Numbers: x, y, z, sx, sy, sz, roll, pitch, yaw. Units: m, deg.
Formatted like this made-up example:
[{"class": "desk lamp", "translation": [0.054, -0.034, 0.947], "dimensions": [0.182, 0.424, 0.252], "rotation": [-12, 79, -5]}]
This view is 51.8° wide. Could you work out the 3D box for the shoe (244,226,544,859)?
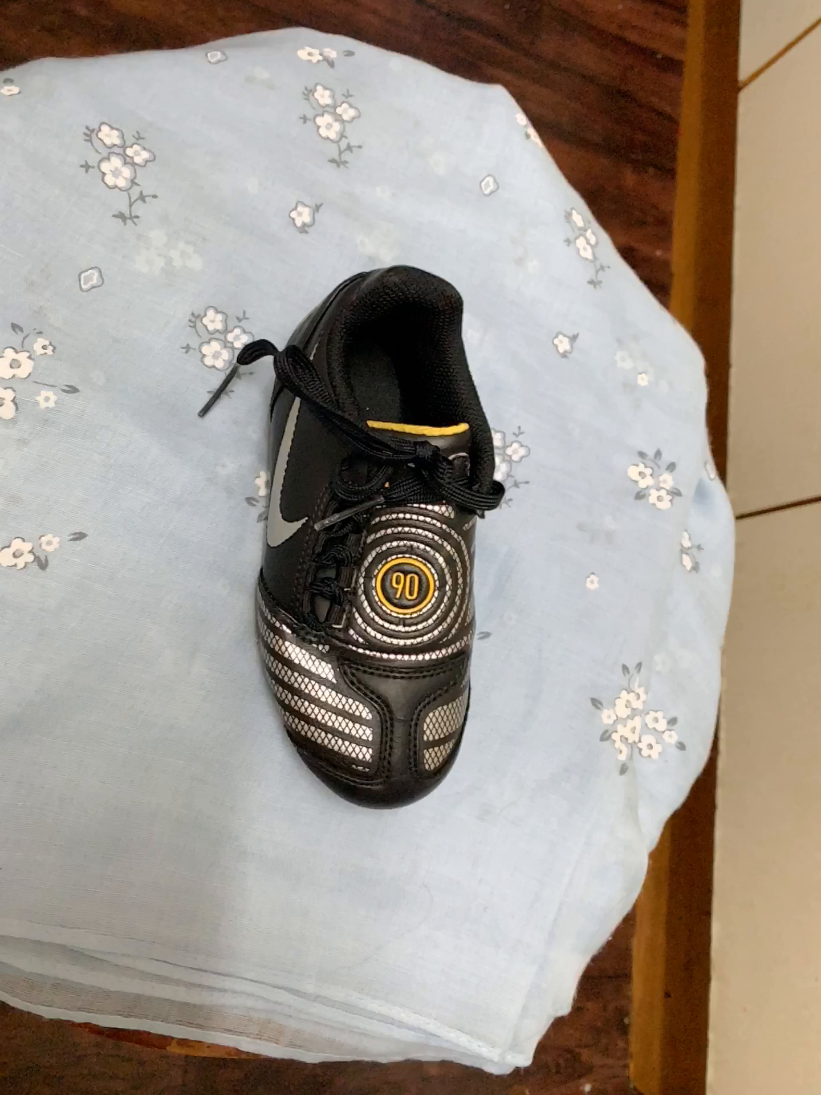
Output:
[{"class": "shoe", "translation": [-0.011, -0.001, 0.299], "dimensions": [0.080, 0.070, 0.190], "rotation": [1, 82, -22]}]
